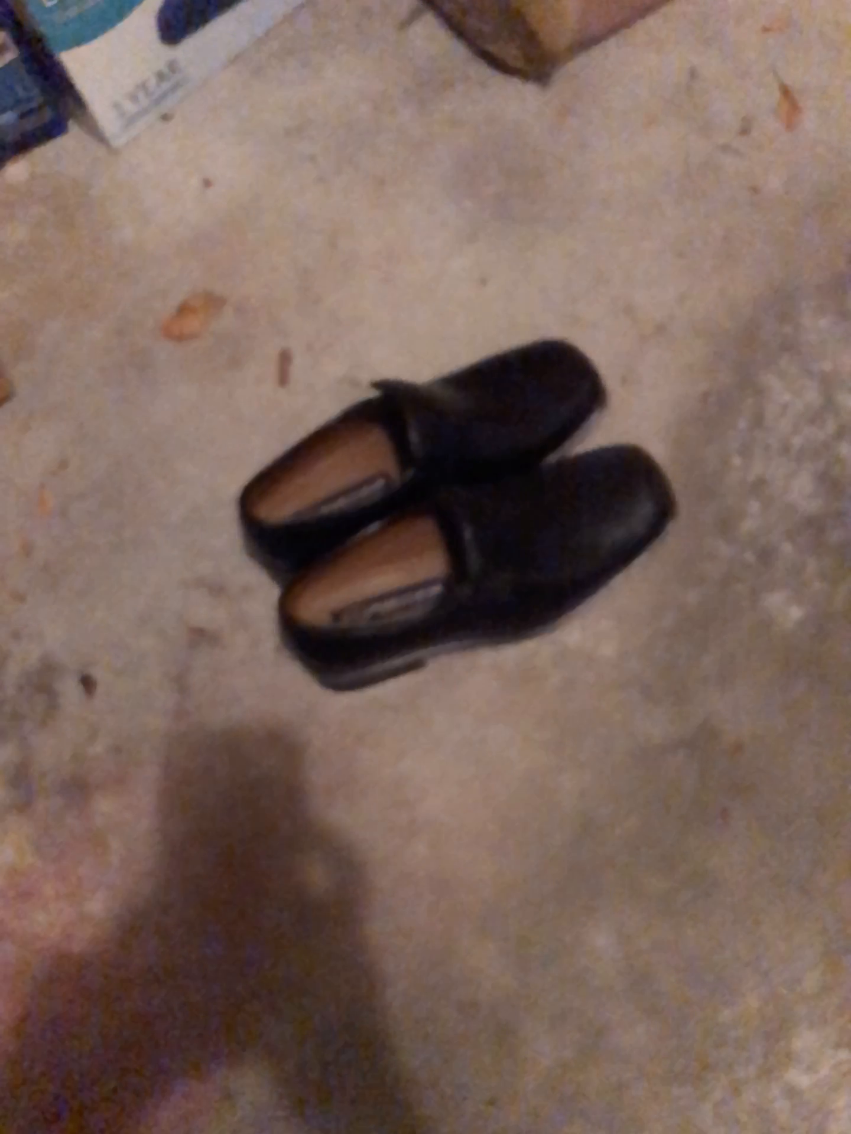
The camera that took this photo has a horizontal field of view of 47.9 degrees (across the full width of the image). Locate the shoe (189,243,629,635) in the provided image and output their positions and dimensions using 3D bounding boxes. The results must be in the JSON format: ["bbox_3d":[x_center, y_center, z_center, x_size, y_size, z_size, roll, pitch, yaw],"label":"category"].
[{"bbox_3d":[-0.004,-0.084,0.660,0.269,0.113,0.104,-33,67,-4],"label":"shoe"}]

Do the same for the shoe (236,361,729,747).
[{"bbox_3d":[0.038,-0.003,0.621,0.279,0.113,0.101,-27,66,-2],"label":"shoe"}]
